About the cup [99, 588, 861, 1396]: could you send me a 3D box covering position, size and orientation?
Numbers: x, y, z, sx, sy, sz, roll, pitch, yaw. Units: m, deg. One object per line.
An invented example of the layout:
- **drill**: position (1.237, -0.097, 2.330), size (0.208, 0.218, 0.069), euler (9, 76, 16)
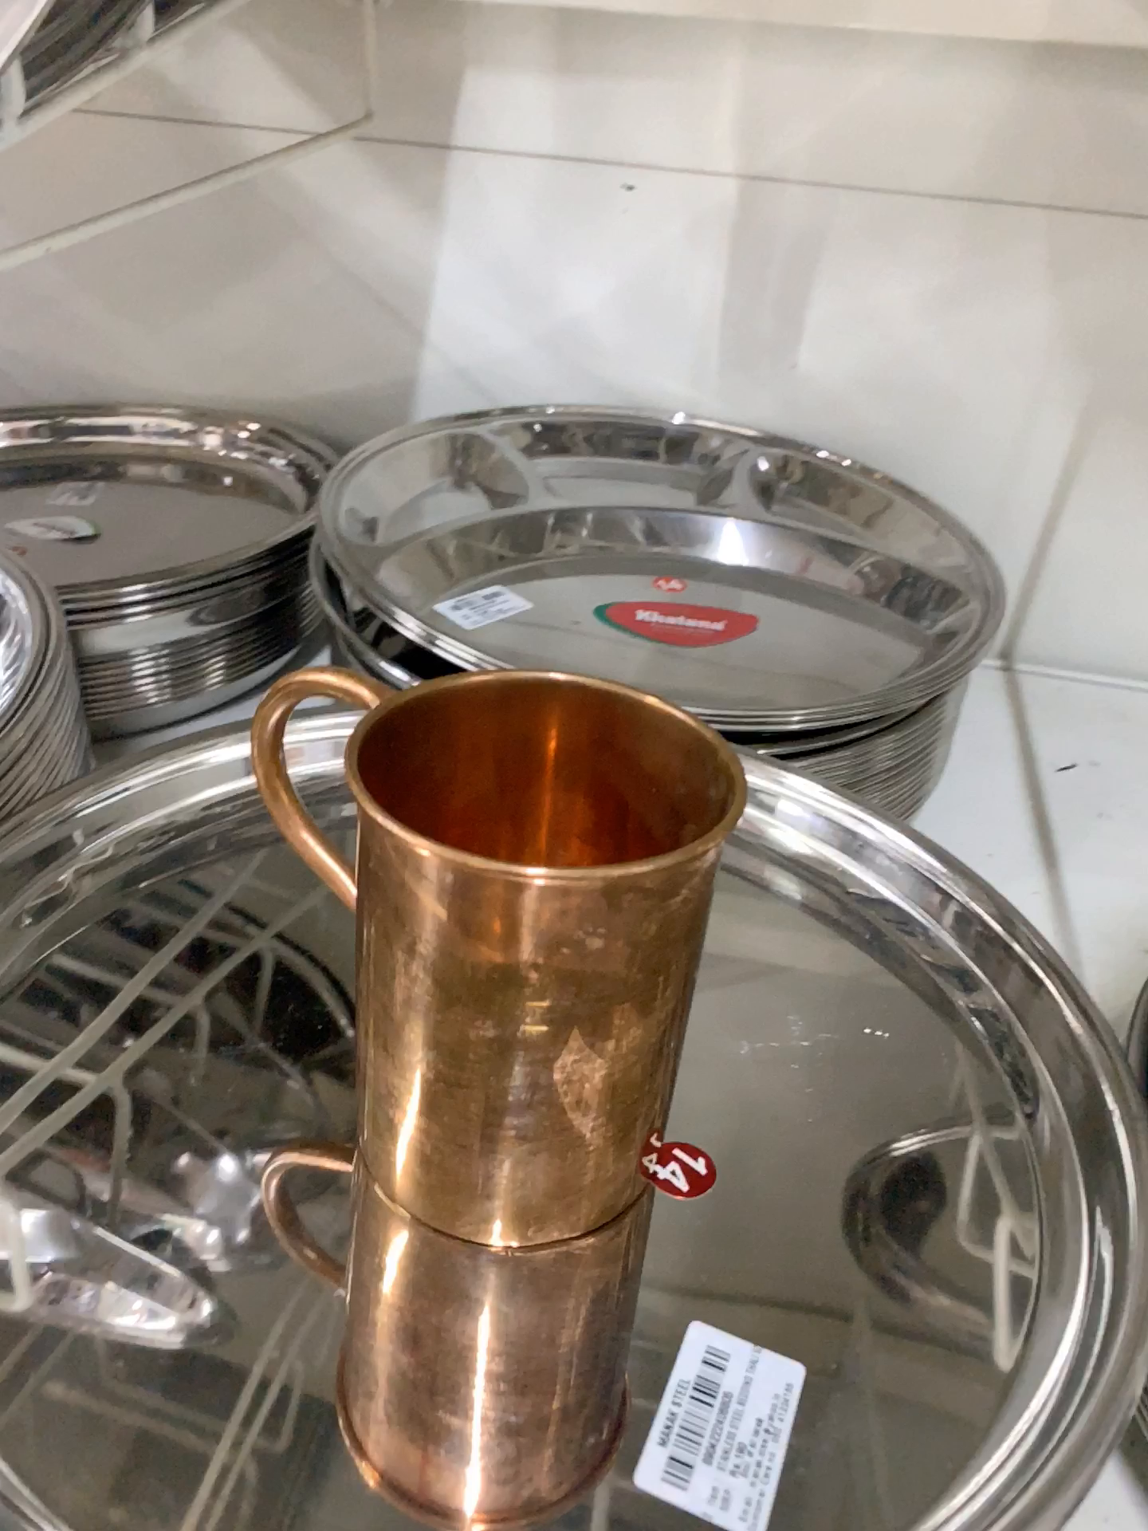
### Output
- **cup**: position (-0.020, 0.044, 0.270), size (0.130, 0.119, 0.080), euler (19, 36, 22)
